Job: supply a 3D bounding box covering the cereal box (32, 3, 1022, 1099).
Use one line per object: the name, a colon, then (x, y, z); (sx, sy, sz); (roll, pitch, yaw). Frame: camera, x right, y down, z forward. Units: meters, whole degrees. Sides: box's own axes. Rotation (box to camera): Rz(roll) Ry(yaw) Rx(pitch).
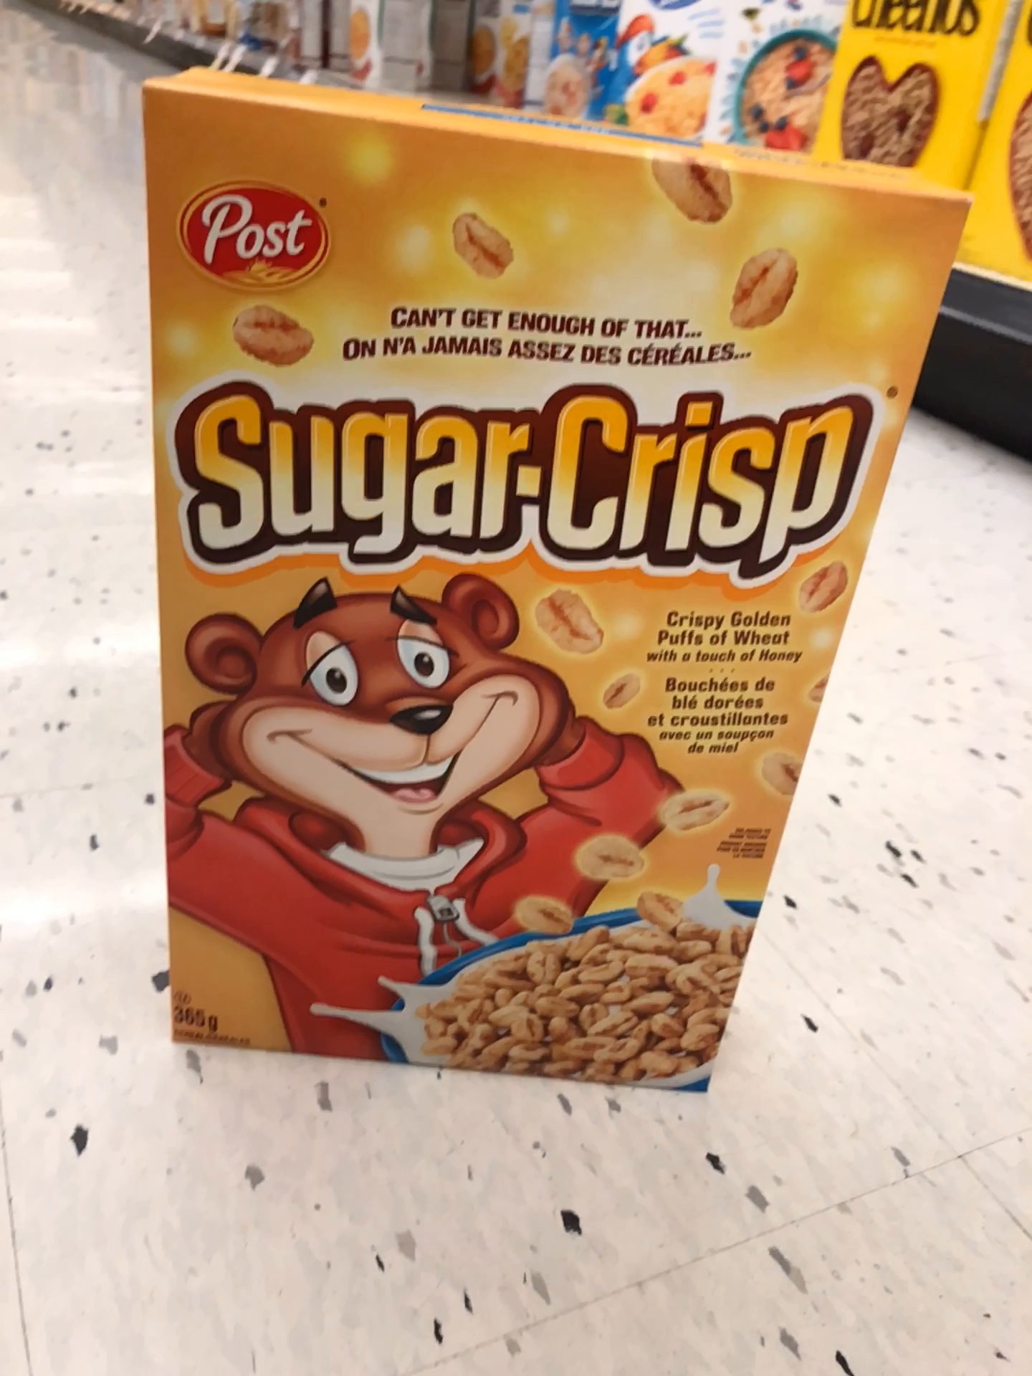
cereal box: (-0.014, -0.015, 0.339); (0.210, 0.298, 0.060); (6, 29, -4)
